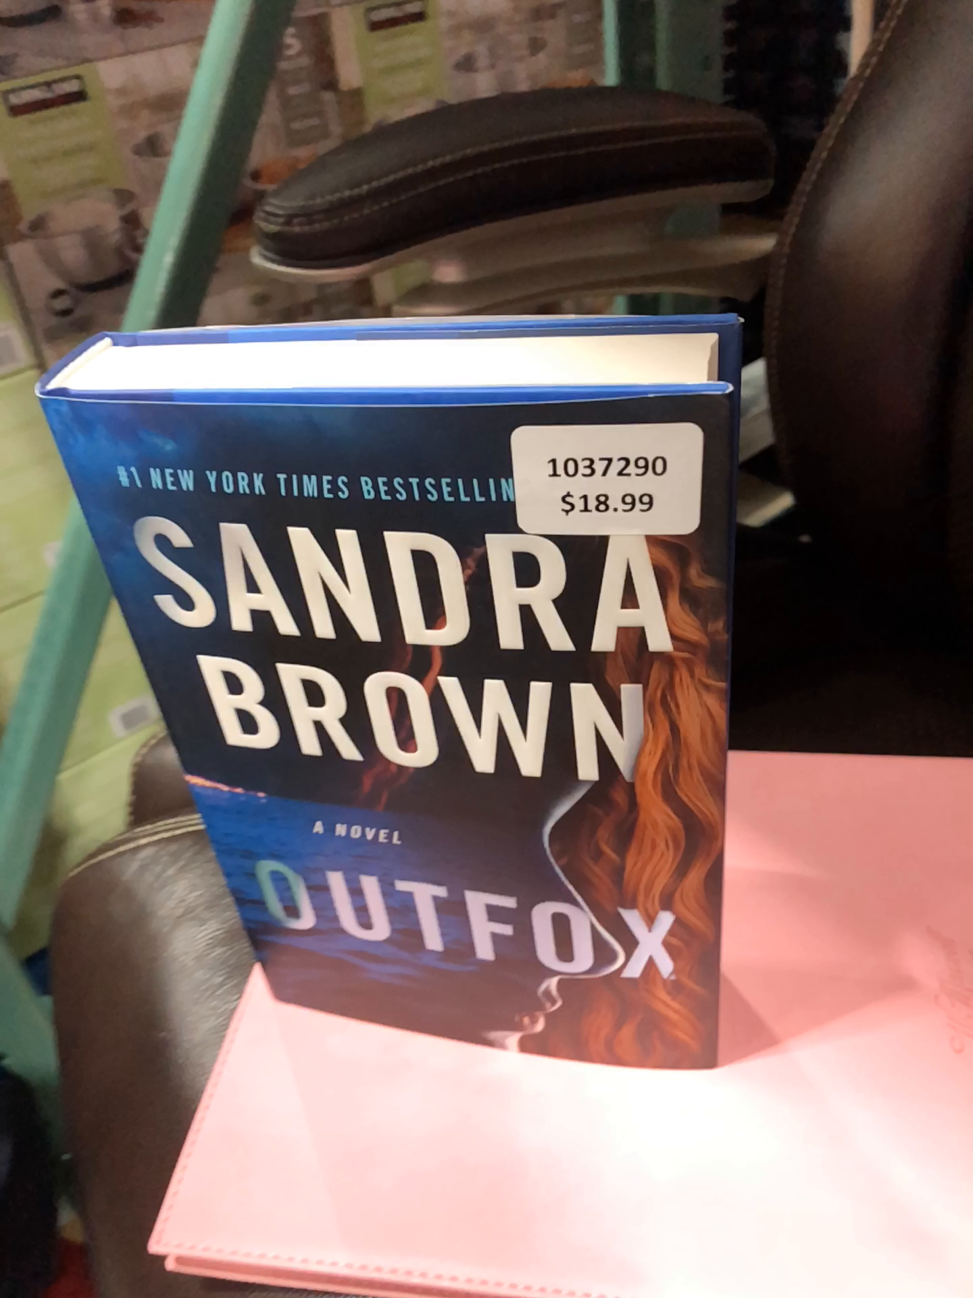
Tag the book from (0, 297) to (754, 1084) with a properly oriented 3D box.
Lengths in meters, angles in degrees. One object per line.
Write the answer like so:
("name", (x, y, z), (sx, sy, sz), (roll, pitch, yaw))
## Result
("book", (-0.017, 0.025, 0.301), (0.167, 0.228, 0.048), (3, 40, 15))
